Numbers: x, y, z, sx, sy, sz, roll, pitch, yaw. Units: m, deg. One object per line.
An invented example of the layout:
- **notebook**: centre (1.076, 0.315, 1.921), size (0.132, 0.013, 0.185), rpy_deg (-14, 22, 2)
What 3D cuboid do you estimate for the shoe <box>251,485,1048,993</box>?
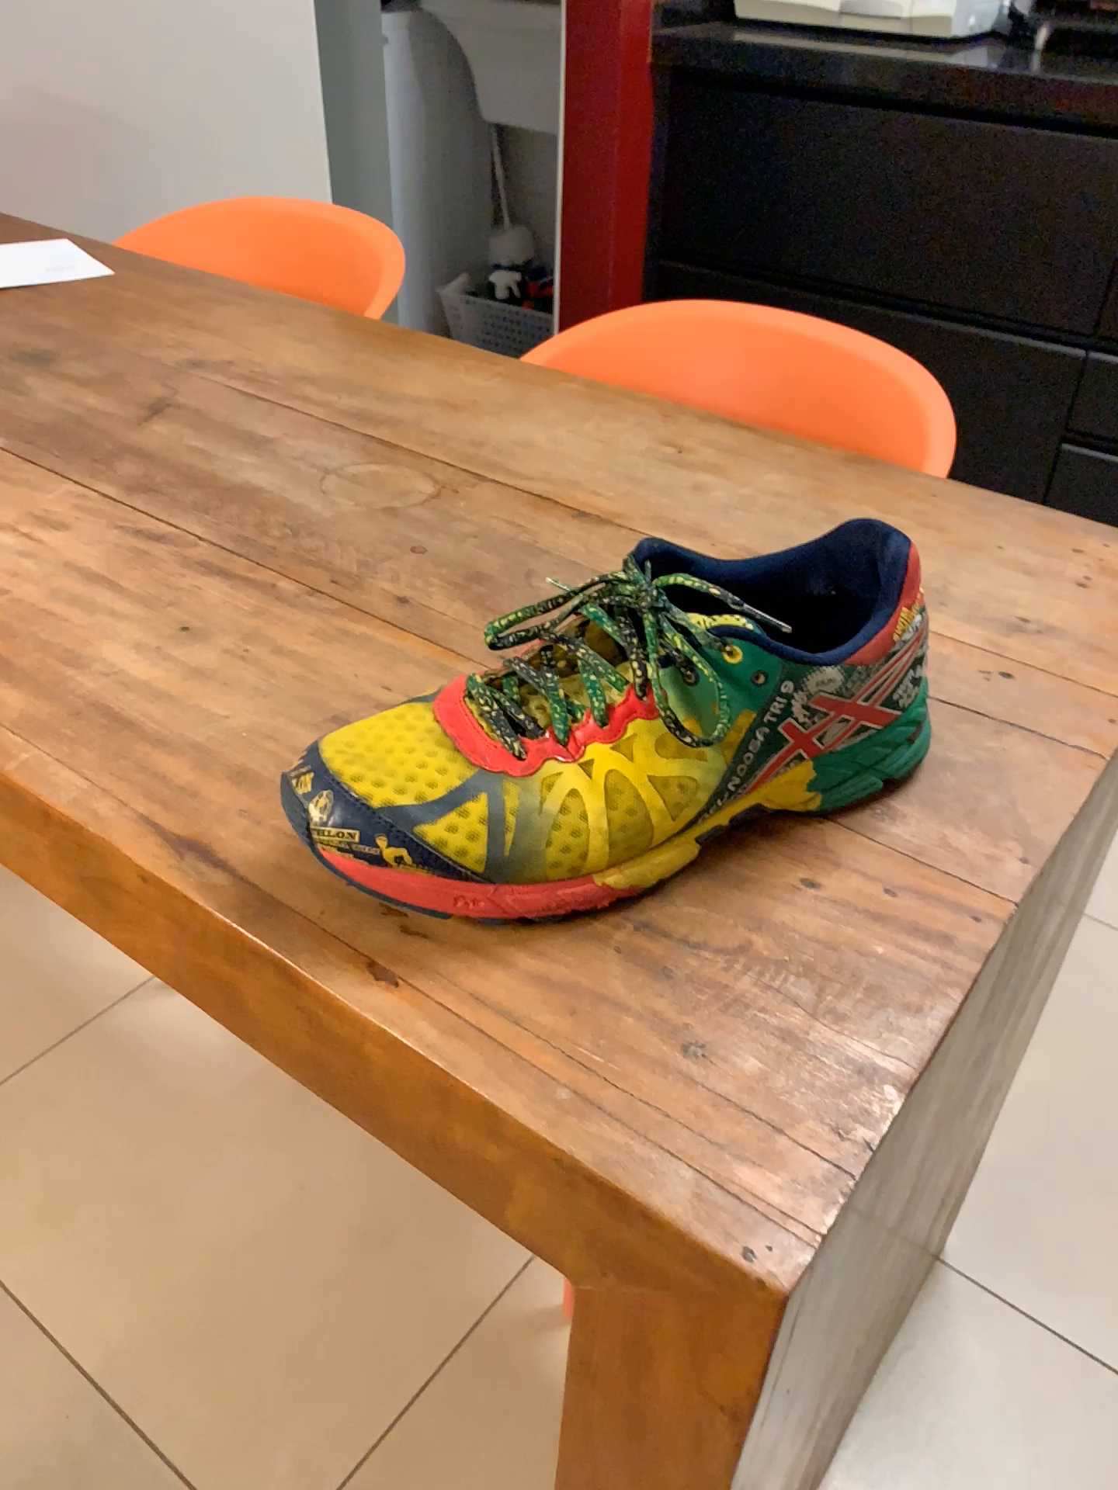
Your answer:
- **shoe**: centre (0.038, -0.016, 0.482), size (0.295, 0.102, 0.114), rpy_deg (-14, 40, -20)
